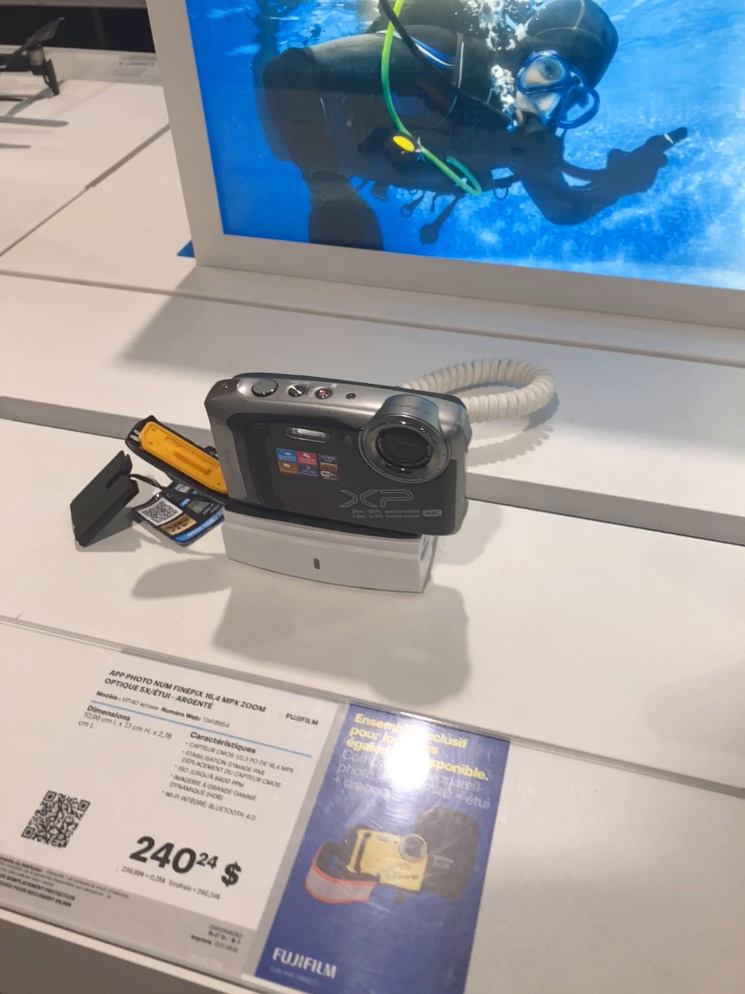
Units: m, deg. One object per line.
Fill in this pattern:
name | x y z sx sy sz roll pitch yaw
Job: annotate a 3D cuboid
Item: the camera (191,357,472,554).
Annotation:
camera | -0.015 -0.017 0.341 0.106 0.069 0.023 8 43 12
